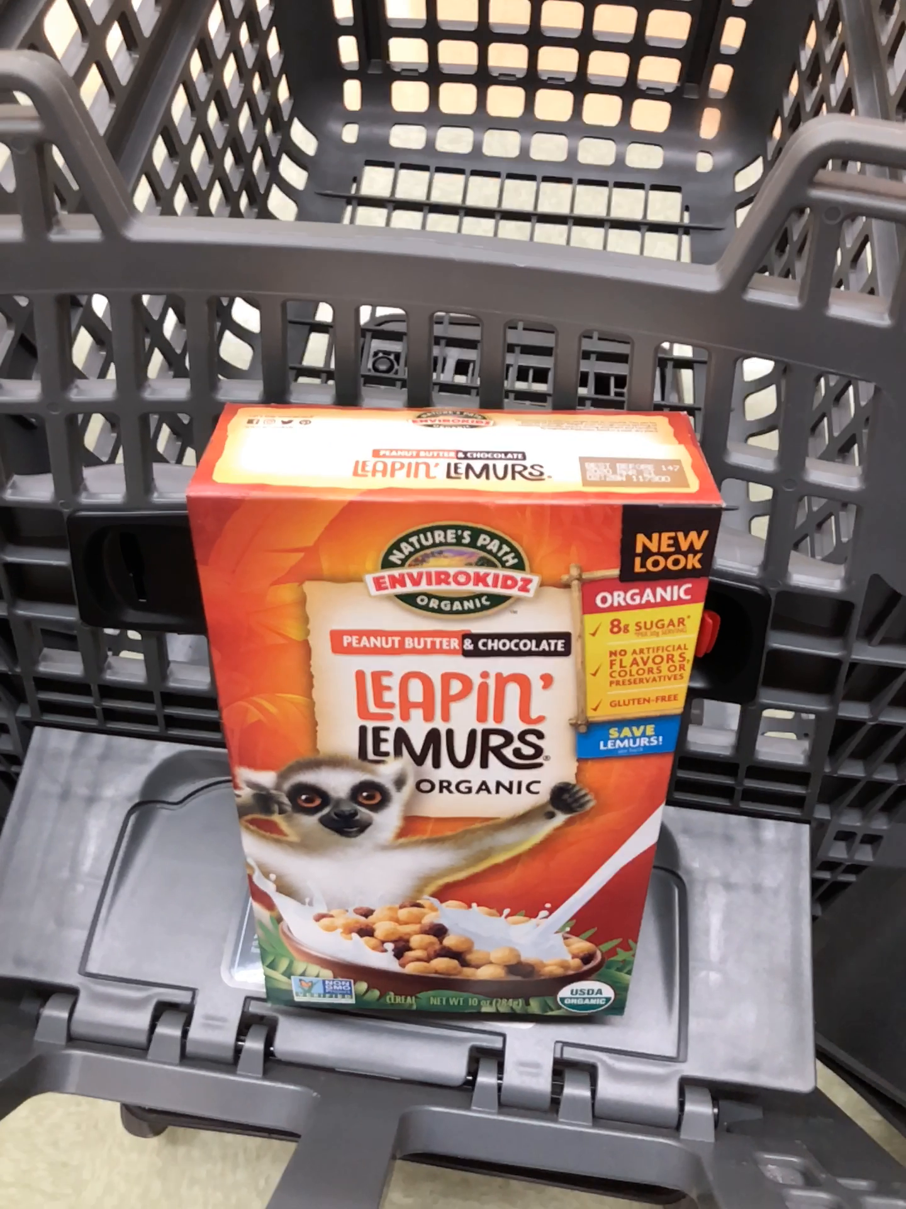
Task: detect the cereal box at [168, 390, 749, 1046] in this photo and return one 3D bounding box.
[{"bbox_3d":[0.001,0.057,0.378,0.160,0.260,0.070,1,35,1],"label":"cereal box"}]
